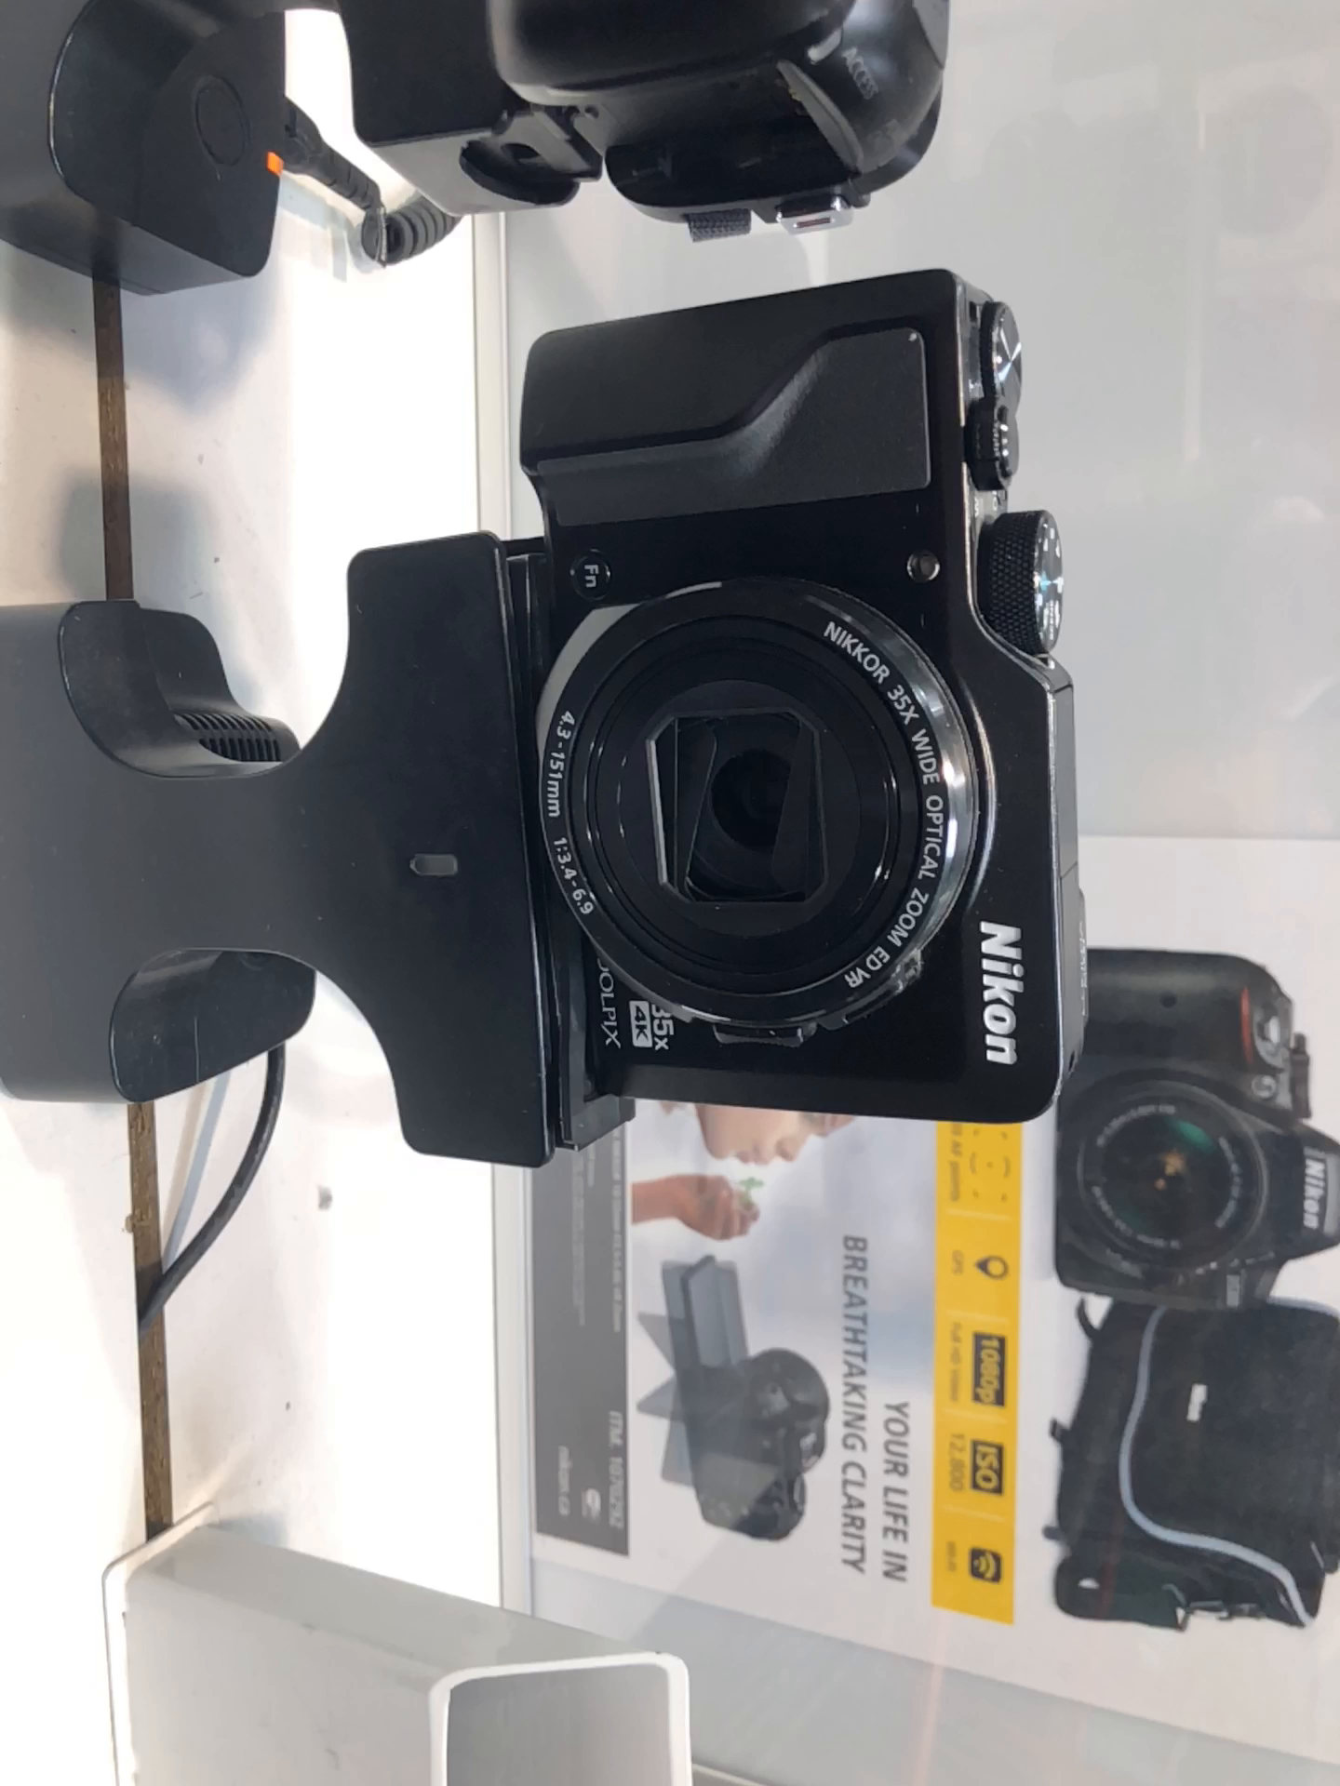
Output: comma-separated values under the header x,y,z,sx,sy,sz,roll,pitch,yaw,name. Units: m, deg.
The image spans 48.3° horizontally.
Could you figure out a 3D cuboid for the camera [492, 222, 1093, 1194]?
x,y,z,sx,sy,sz,roll,pitch,yaw,name
0.021,-0.024,0.210,0.044,0.069,0.116,-39,128,-65,camera
